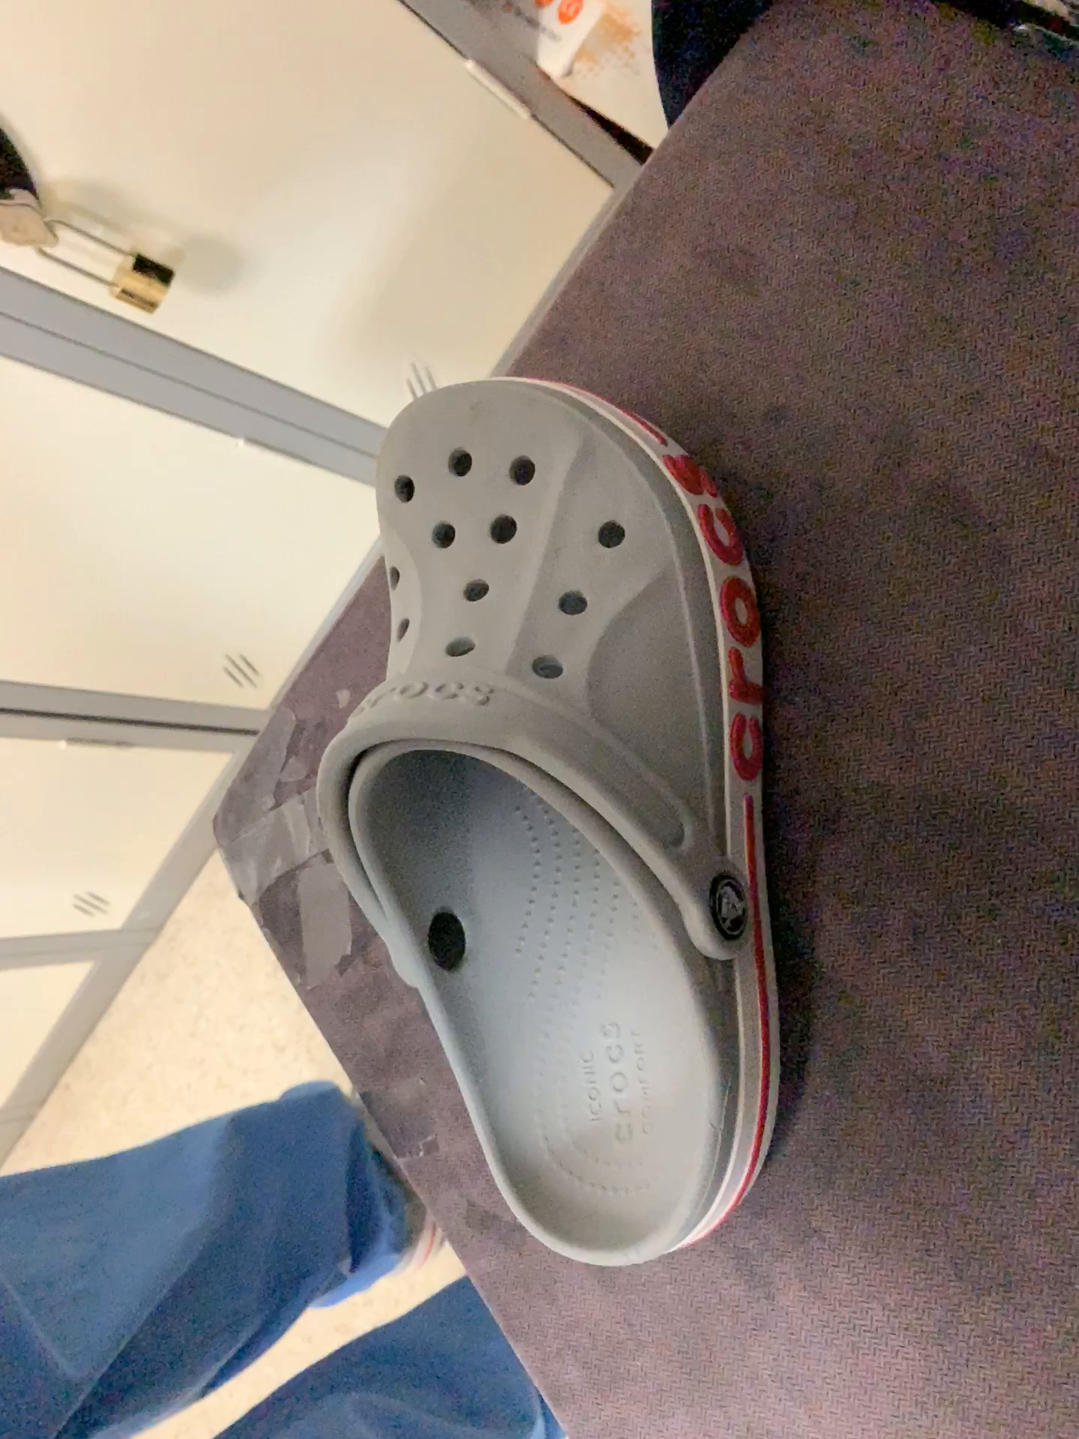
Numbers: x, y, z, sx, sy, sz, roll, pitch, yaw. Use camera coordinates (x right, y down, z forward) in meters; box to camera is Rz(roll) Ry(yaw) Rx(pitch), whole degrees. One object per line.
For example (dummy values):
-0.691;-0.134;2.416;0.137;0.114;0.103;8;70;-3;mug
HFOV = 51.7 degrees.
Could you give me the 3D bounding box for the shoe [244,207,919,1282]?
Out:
0.002;0.011;0.301;0.119;0.075;0.239;-20;73;33;shoe
